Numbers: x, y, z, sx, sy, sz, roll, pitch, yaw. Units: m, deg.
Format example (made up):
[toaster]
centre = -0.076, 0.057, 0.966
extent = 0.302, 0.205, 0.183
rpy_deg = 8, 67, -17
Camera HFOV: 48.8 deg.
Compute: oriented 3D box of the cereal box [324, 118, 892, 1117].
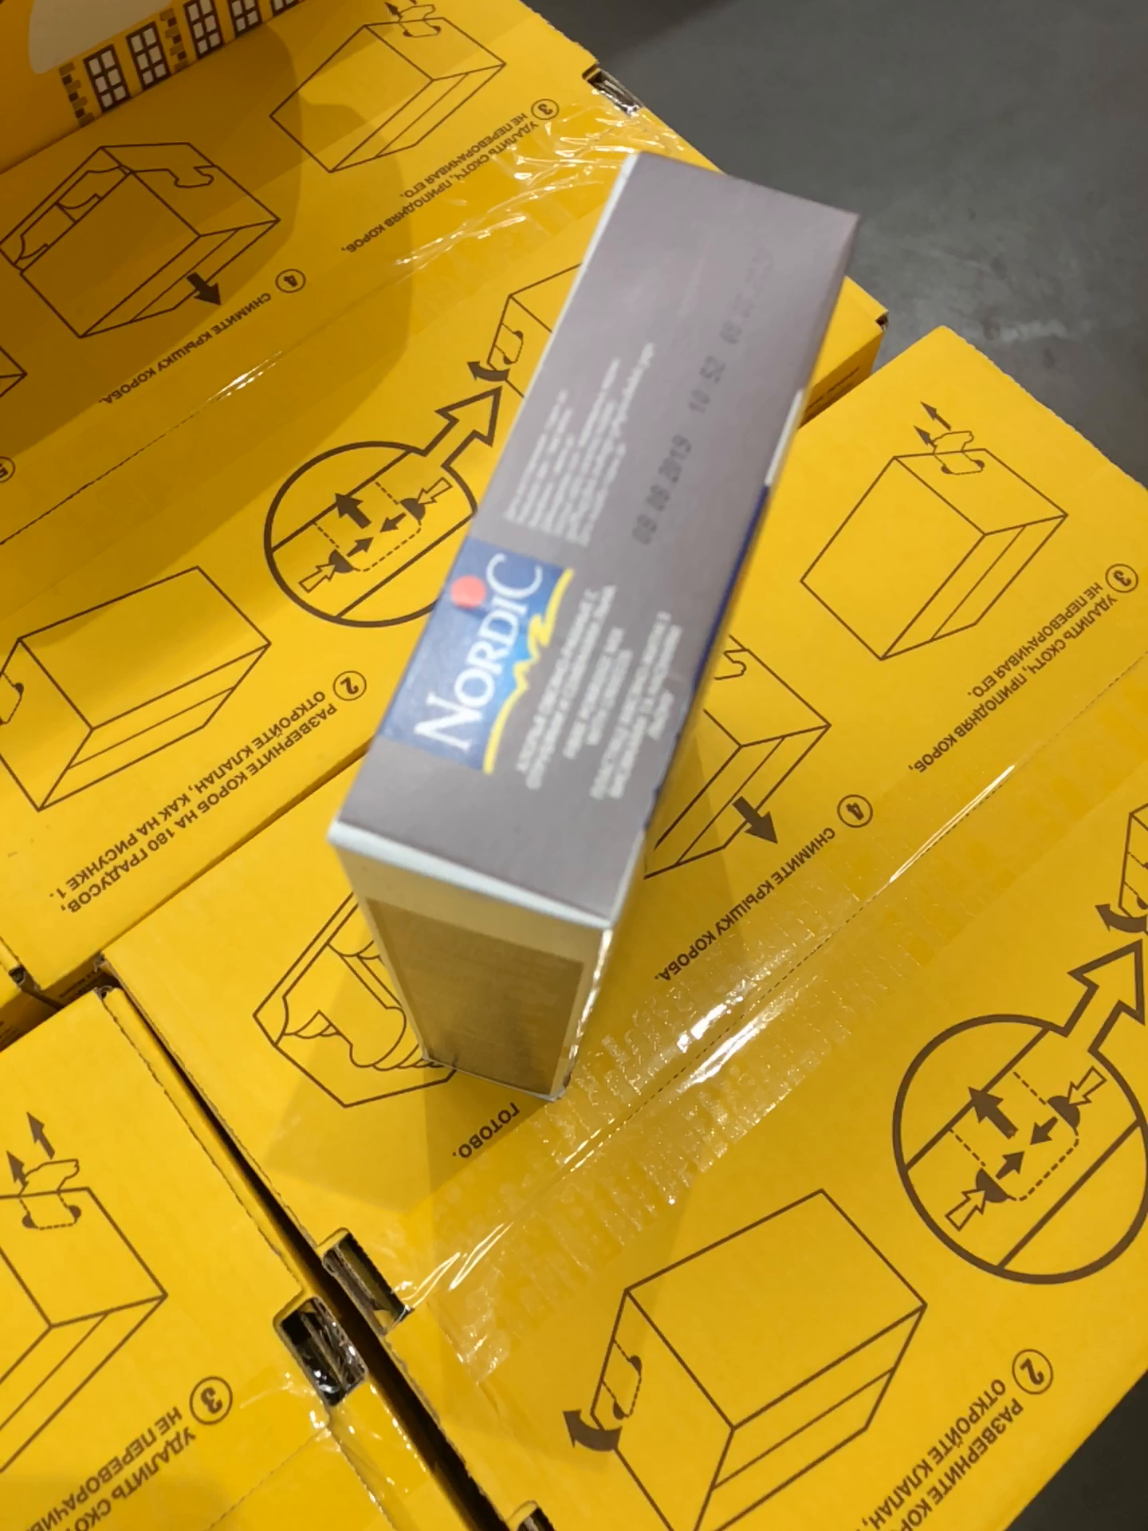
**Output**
[cereal box]
centre = 0.006, -0.008, 0.311
extent = 0.050, 0.219, 0.151
rpy_deg = 18, 68, 4
